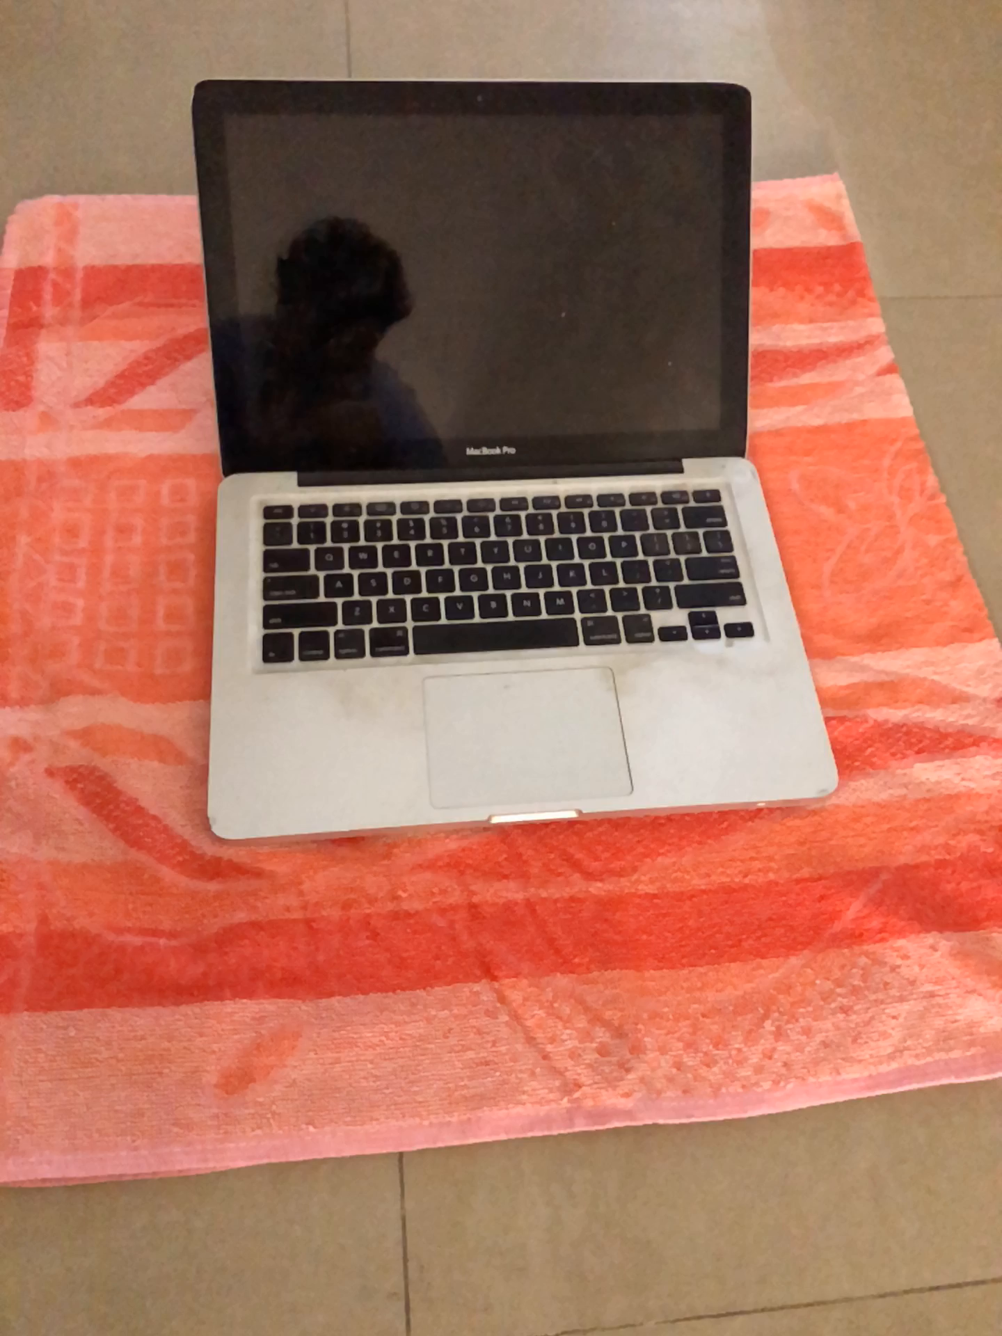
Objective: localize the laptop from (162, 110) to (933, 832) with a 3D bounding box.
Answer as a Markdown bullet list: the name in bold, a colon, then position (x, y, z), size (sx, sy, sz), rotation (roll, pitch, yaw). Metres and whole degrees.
- **laptop**: position (0.002, -0.122, 0.589), size (0.309, 0.133, 0.374), rotation (-3, 60, -7)
